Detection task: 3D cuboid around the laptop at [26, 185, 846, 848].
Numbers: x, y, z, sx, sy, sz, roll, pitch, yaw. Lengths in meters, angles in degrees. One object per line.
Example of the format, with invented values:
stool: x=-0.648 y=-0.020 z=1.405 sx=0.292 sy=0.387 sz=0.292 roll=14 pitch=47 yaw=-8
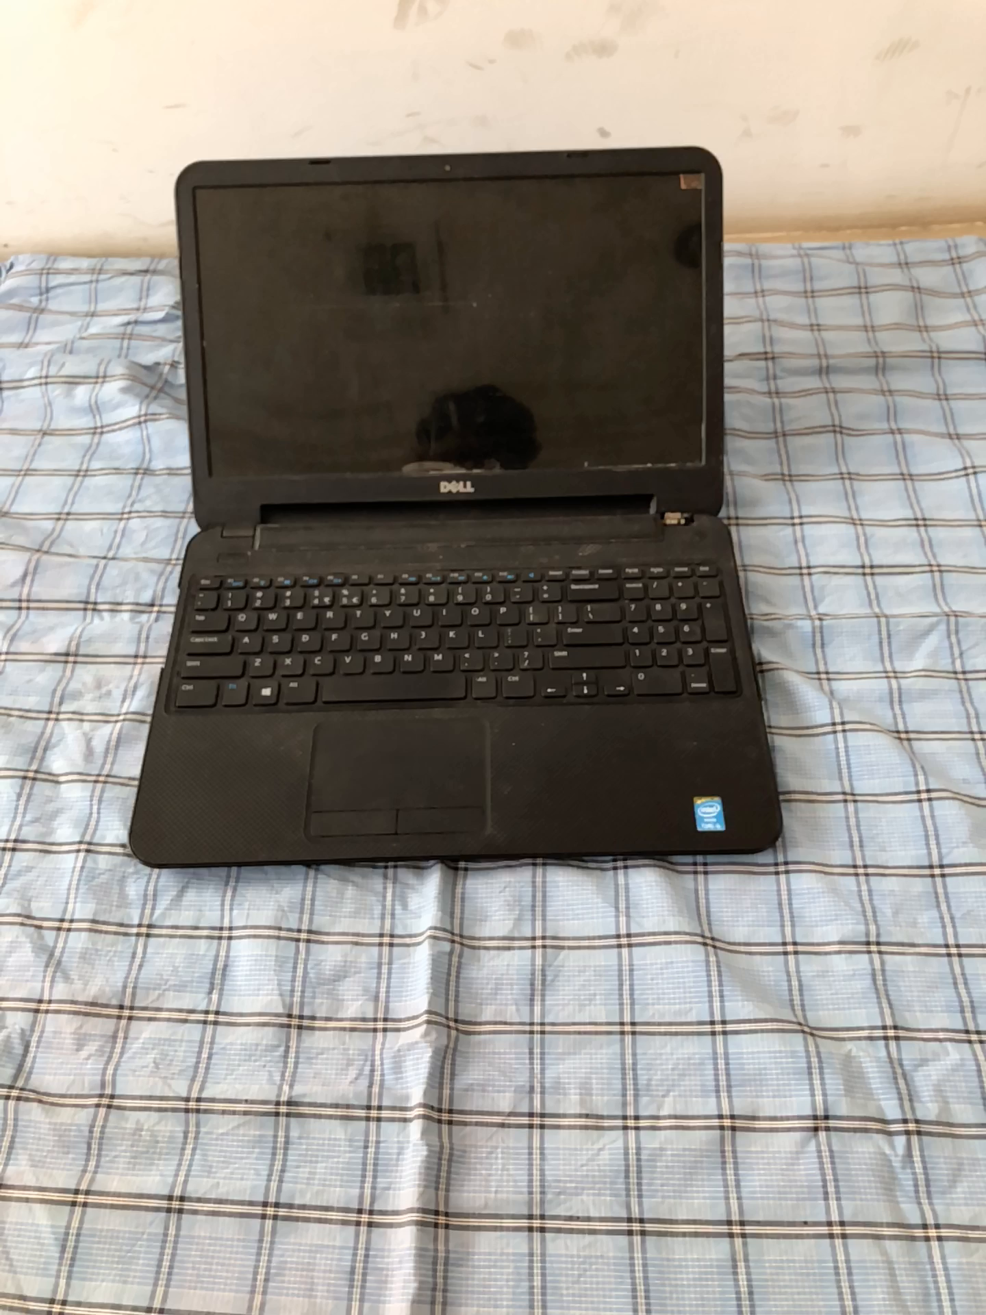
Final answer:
laptop: x=-0.026 y=-0.107 z=0.668 sx=0.355 sy=0.163 sz=0.415 roll=-1 pitch=51 yaw=0
